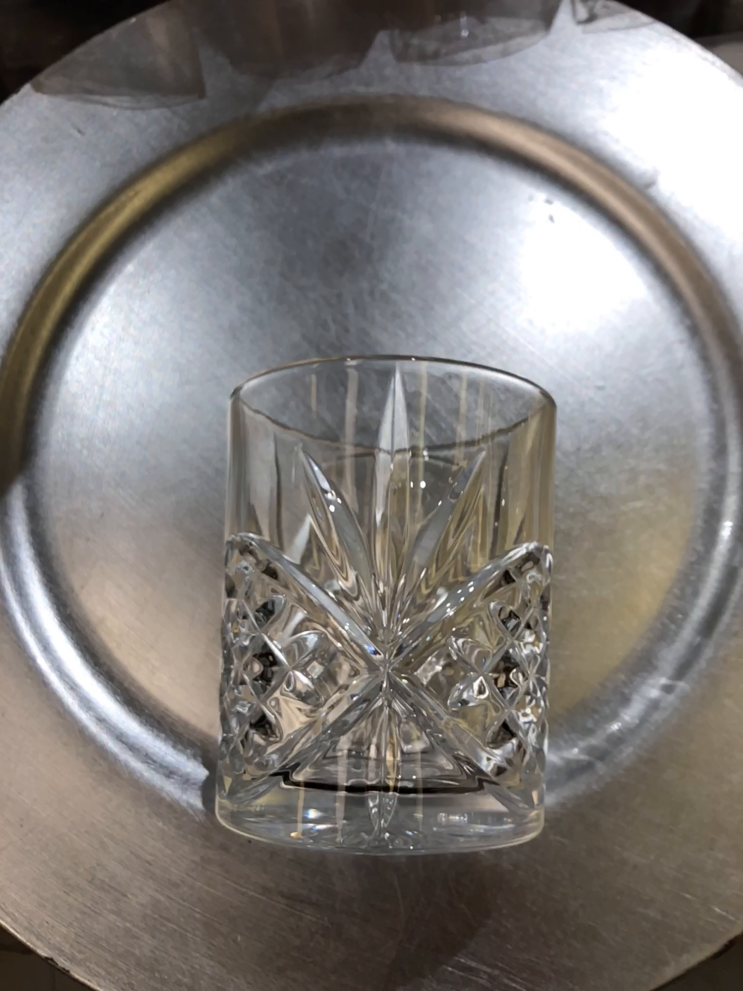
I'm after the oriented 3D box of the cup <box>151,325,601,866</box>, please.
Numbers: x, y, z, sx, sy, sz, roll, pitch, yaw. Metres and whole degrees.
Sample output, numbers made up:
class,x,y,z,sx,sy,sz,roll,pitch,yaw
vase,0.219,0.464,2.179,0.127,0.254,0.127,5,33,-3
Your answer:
class,x,y,z,sx,sy,sz,roll,pitch,yaw
cup,0.003,0.021,0.188,0.080,0.060,0.100,1,79,4
